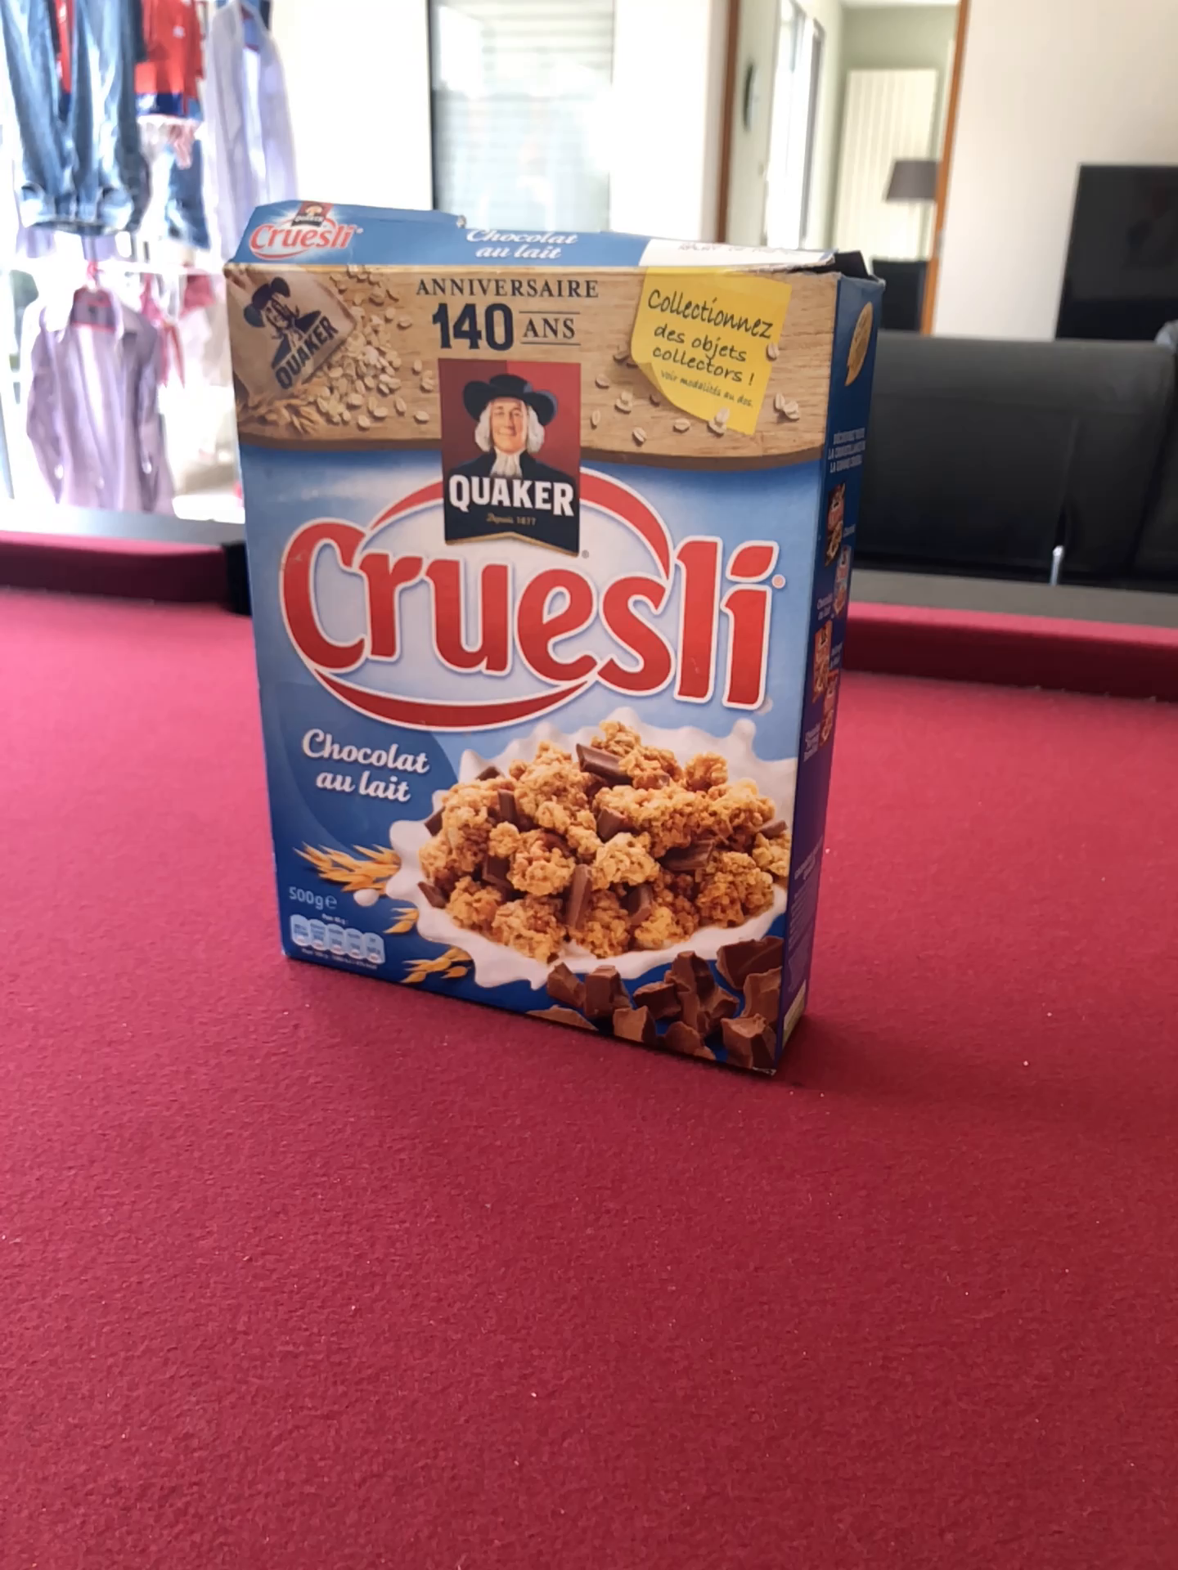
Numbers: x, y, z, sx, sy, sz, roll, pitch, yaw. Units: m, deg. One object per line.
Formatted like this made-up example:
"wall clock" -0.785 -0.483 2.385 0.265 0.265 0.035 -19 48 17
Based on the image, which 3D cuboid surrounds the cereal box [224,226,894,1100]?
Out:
"cereal box" -0.013 -0.040 0.428 0.190 0.259 0.050 9 23 18
